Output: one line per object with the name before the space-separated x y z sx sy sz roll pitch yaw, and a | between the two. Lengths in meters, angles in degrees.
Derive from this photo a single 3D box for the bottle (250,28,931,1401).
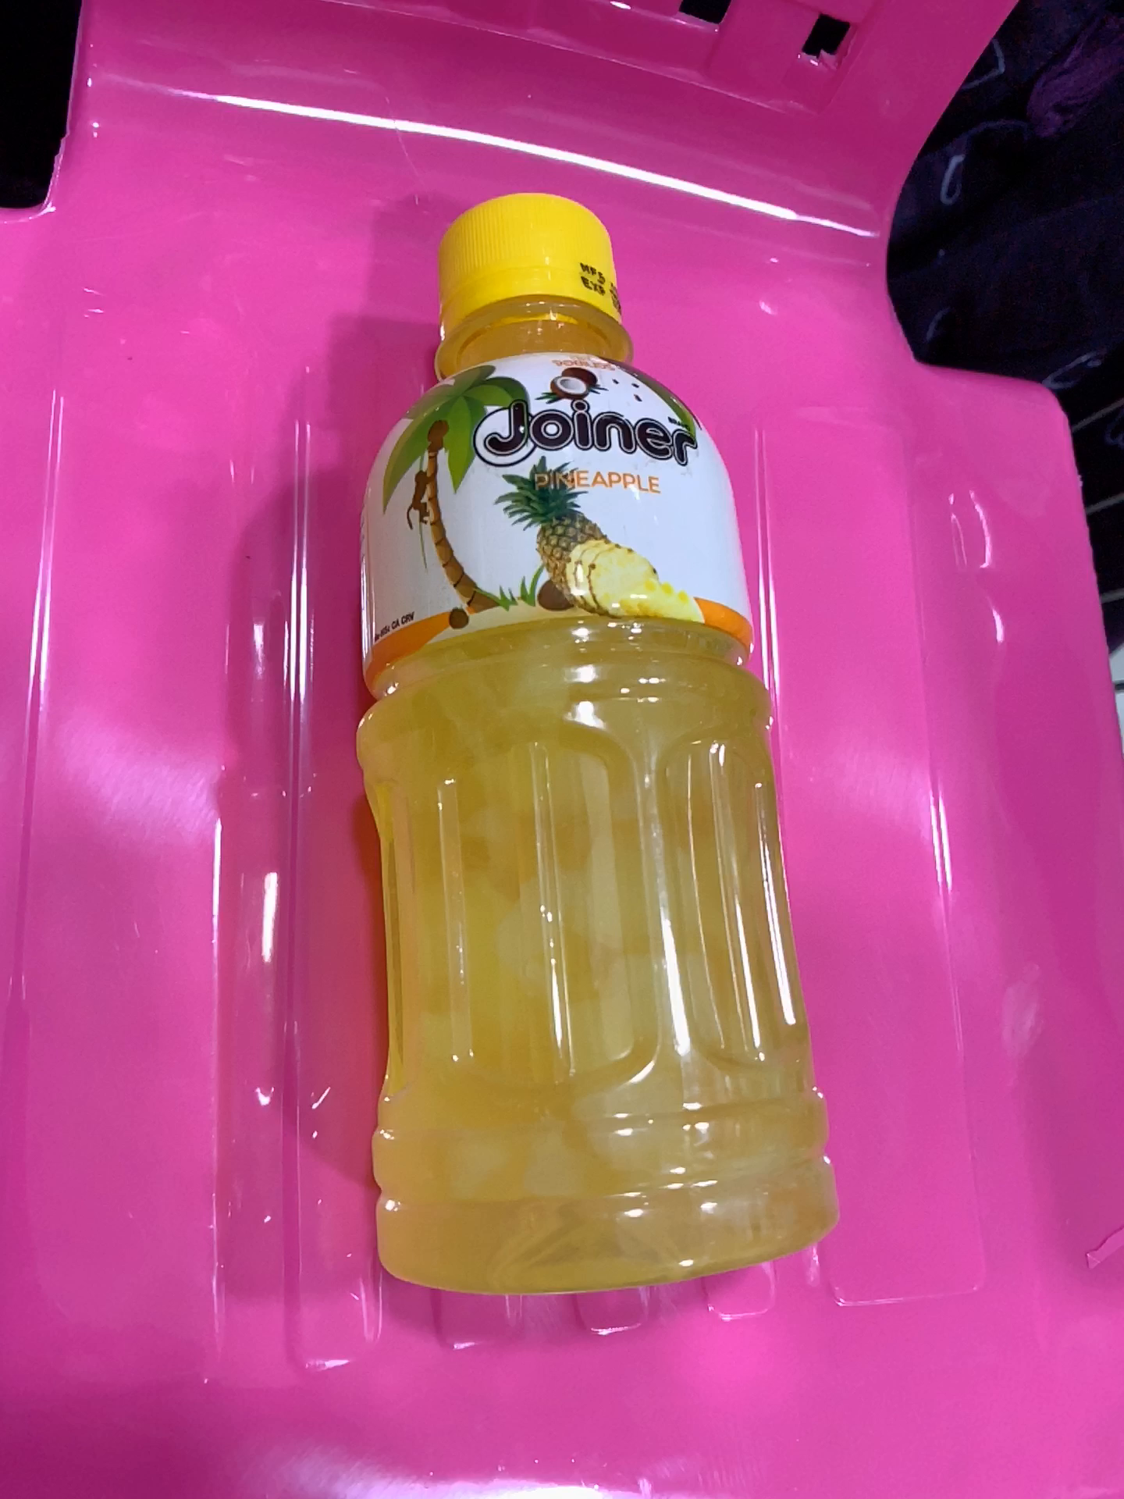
bottle | -0.001 -0.008 0.166 0.070 0.060 0.160 -3 81 -2
